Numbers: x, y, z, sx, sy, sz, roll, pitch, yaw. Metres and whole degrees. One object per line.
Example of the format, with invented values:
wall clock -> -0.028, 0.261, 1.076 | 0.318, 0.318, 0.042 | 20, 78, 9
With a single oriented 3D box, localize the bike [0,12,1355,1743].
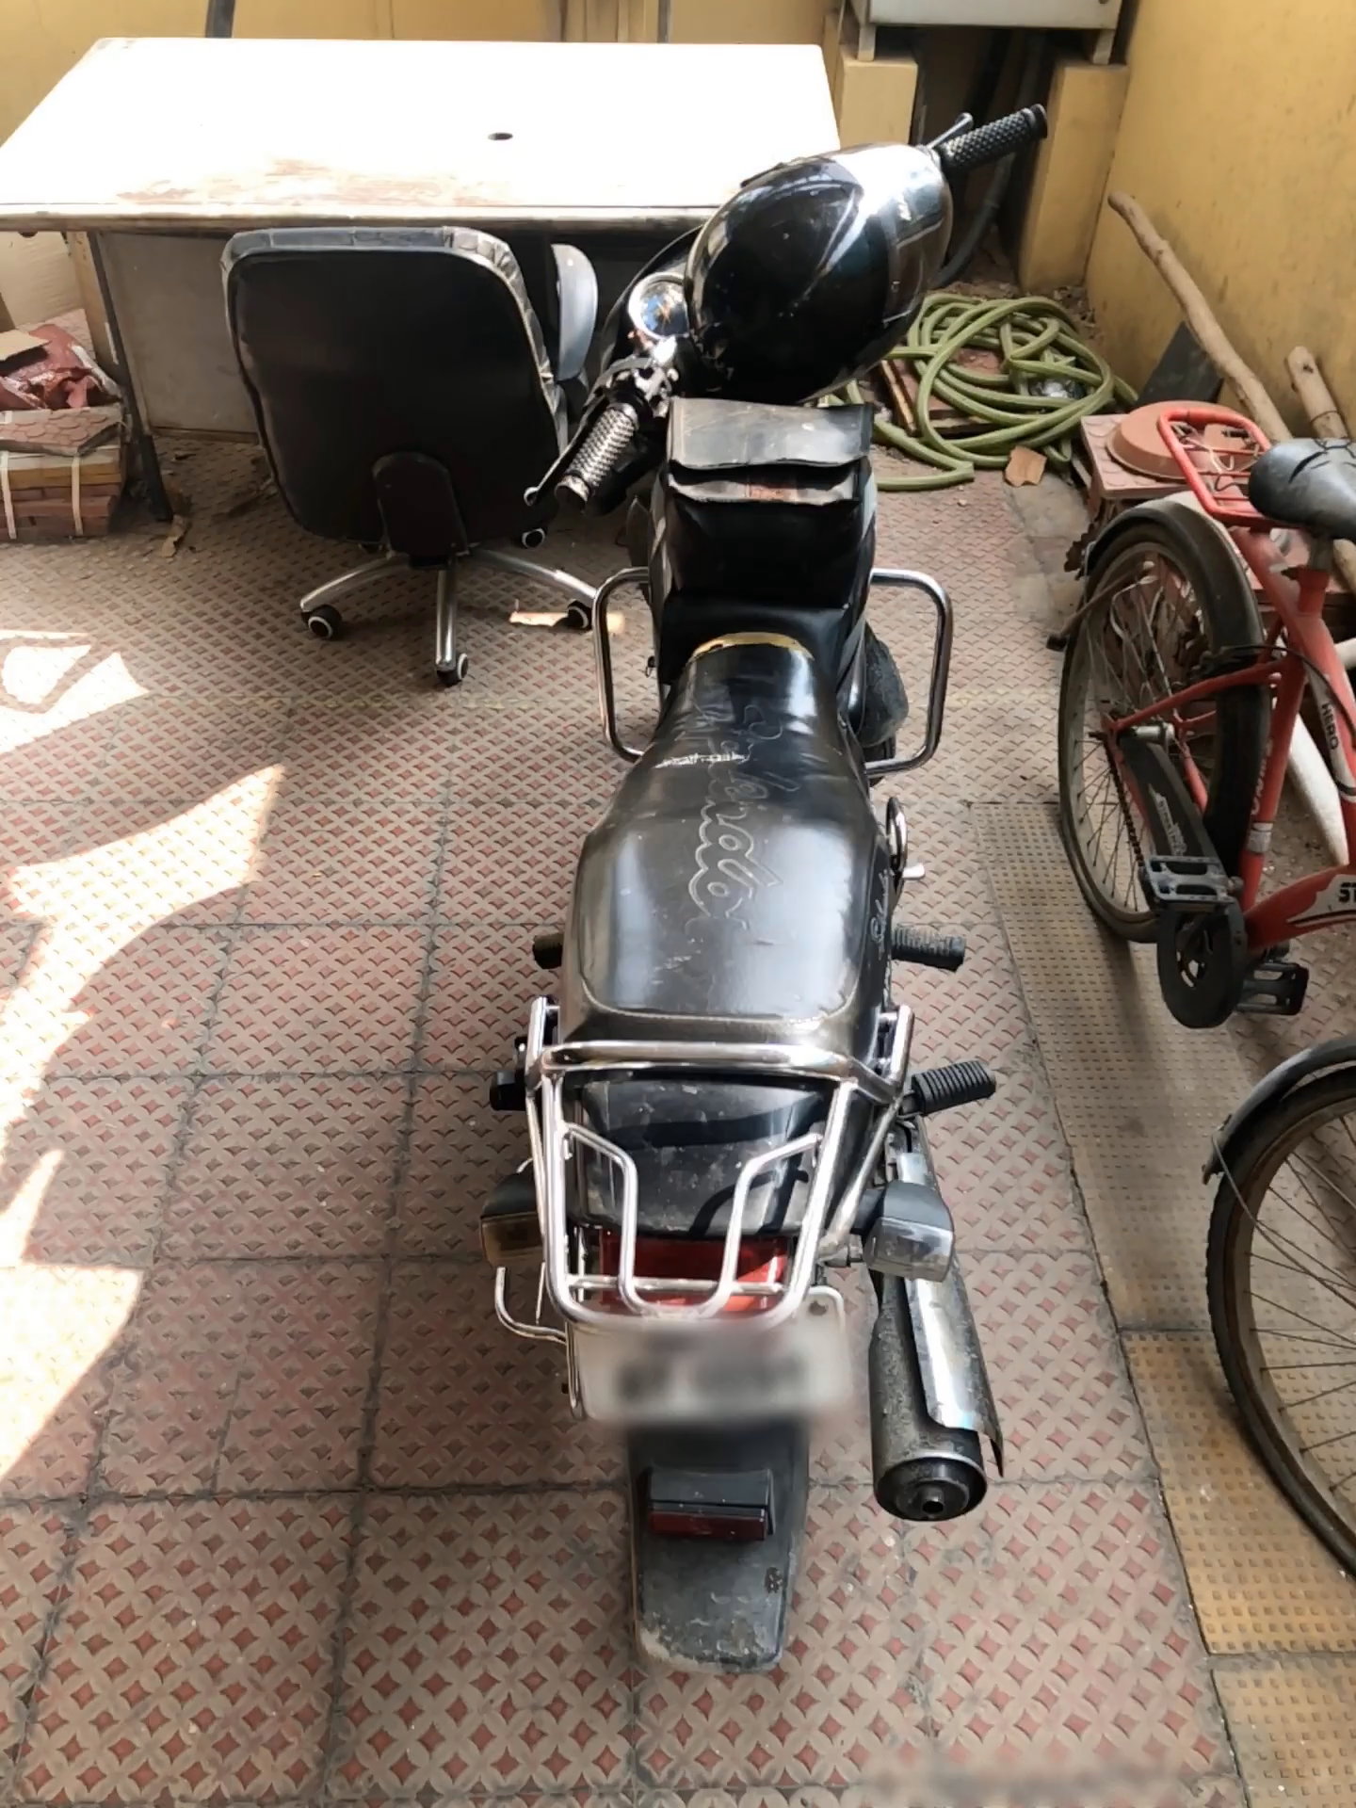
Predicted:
bike -> -0.078, -0.169, 1.613 | 0.713, 1.028, 1.623 | -1, 44, -4
